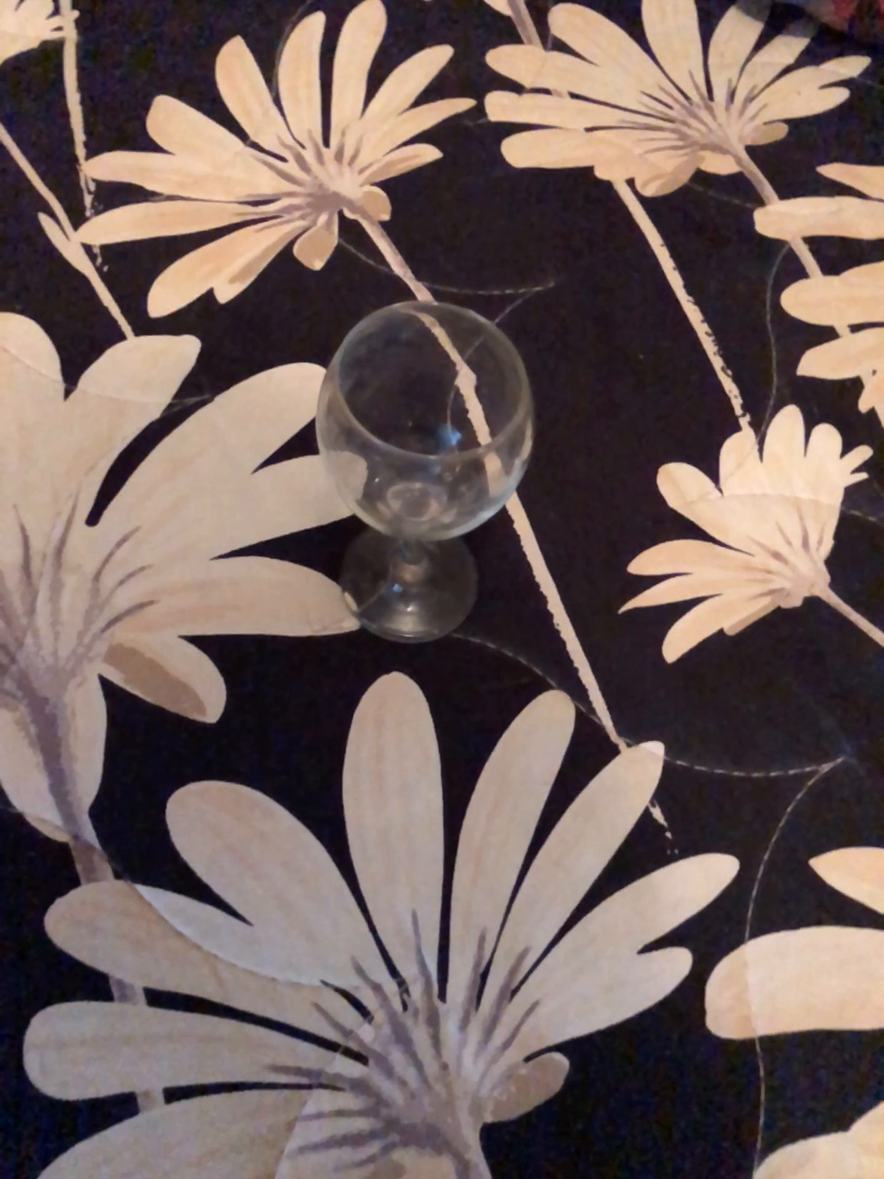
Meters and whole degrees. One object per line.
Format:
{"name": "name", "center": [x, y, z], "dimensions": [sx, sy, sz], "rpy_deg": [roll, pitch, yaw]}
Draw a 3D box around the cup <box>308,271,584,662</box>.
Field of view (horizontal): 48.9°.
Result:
{"name": "cup", "center": [-0.004, -0.038, 0.375], "dimensions": [0.084, 0.139, 0.082], "rpy_deg": [2, 64, -5]}
